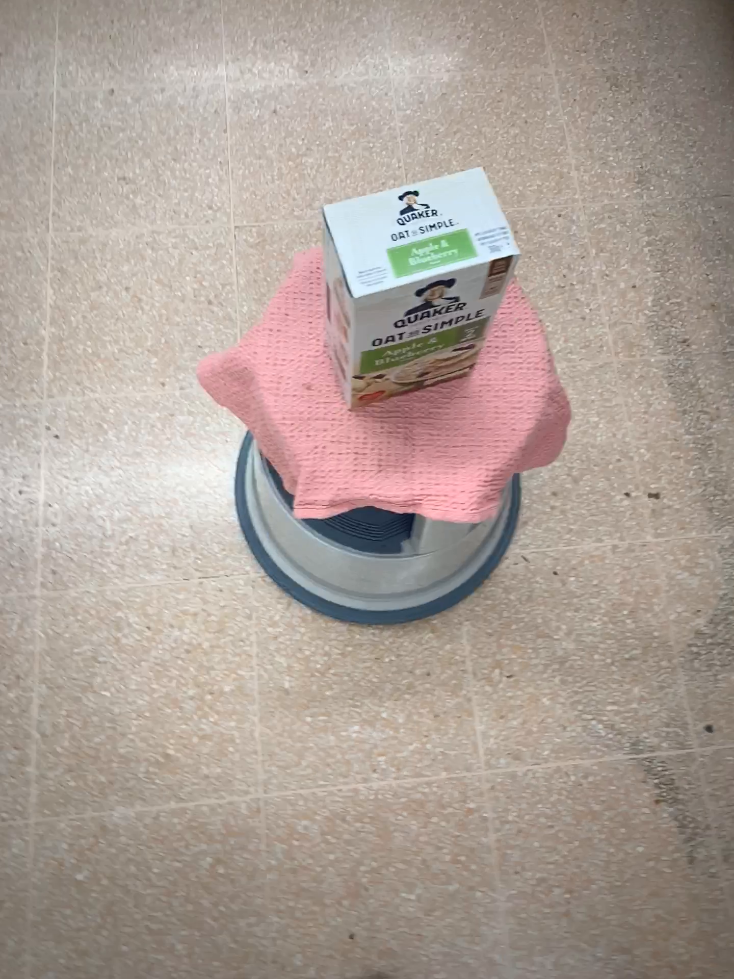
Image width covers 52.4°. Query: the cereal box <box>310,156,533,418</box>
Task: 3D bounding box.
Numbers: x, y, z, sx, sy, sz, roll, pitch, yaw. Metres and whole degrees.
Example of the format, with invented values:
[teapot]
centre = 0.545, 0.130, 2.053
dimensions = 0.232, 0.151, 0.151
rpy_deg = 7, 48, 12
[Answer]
[cereal box]
centre = 0.035, -0.159, 0.637
dimensions = 0.140, 0.209, 0.090
rpy_deg = -16, 75, -7
